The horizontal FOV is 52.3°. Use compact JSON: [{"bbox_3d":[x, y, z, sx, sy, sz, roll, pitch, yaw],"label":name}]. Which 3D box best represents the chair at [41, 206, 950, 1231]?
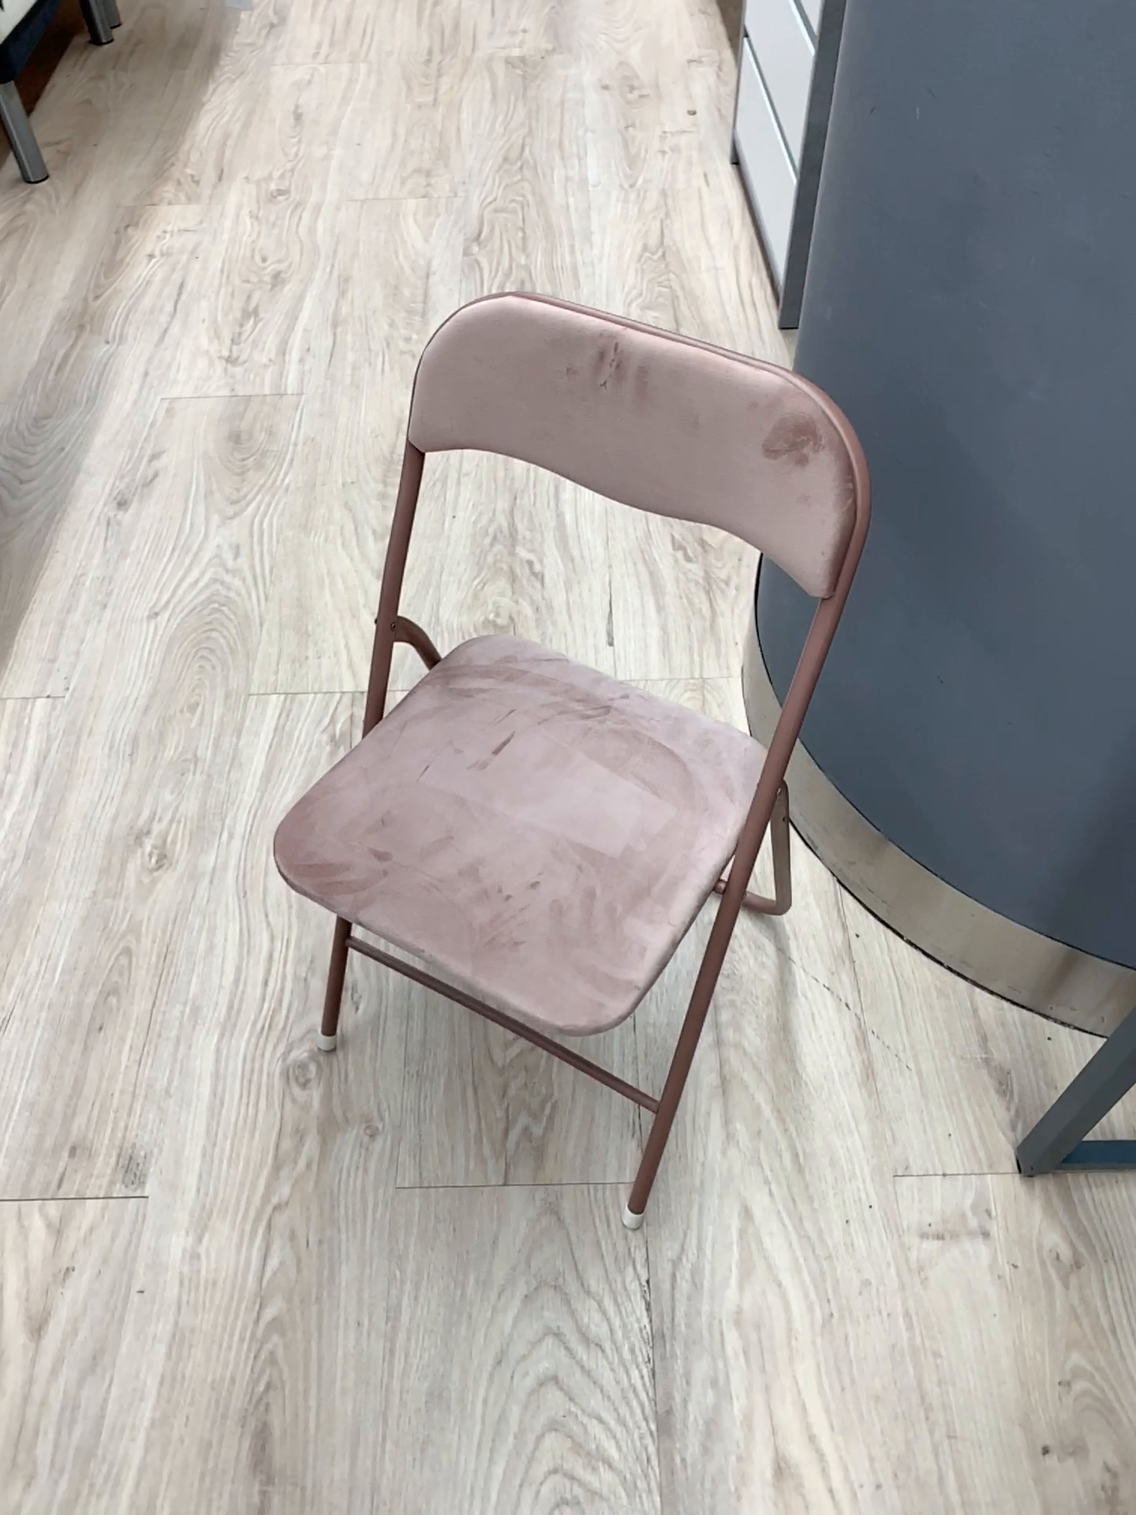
[{"bbox_3d":[-0.019,0.014,1.128,0.461,0.797,0.481,22,56,17],"label":"chair"}]
